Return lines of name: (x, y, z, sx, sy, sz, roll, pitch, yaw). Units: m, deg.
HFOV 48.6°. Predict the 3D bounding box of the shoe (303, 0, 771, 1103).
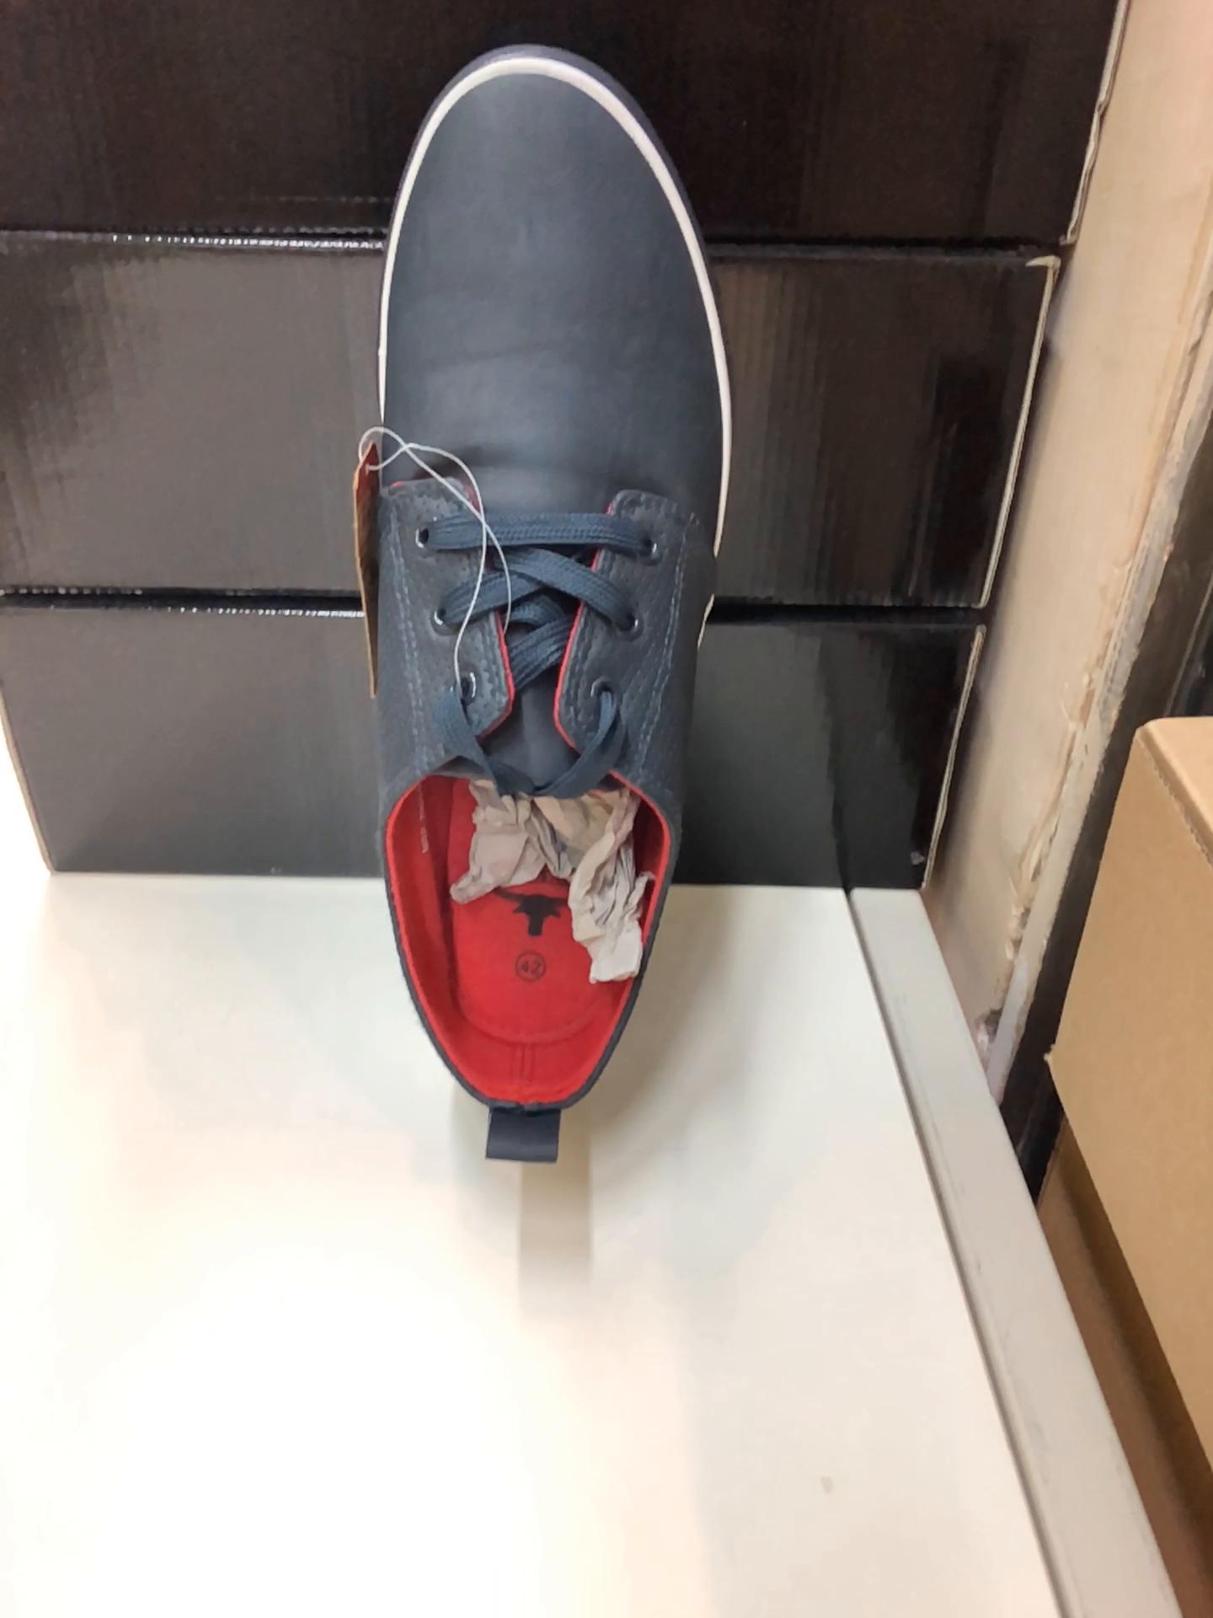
shoe: (-0.012, -0.069, 0.367, 0.103, 0.269, 0.101, 1, 11, 5)
